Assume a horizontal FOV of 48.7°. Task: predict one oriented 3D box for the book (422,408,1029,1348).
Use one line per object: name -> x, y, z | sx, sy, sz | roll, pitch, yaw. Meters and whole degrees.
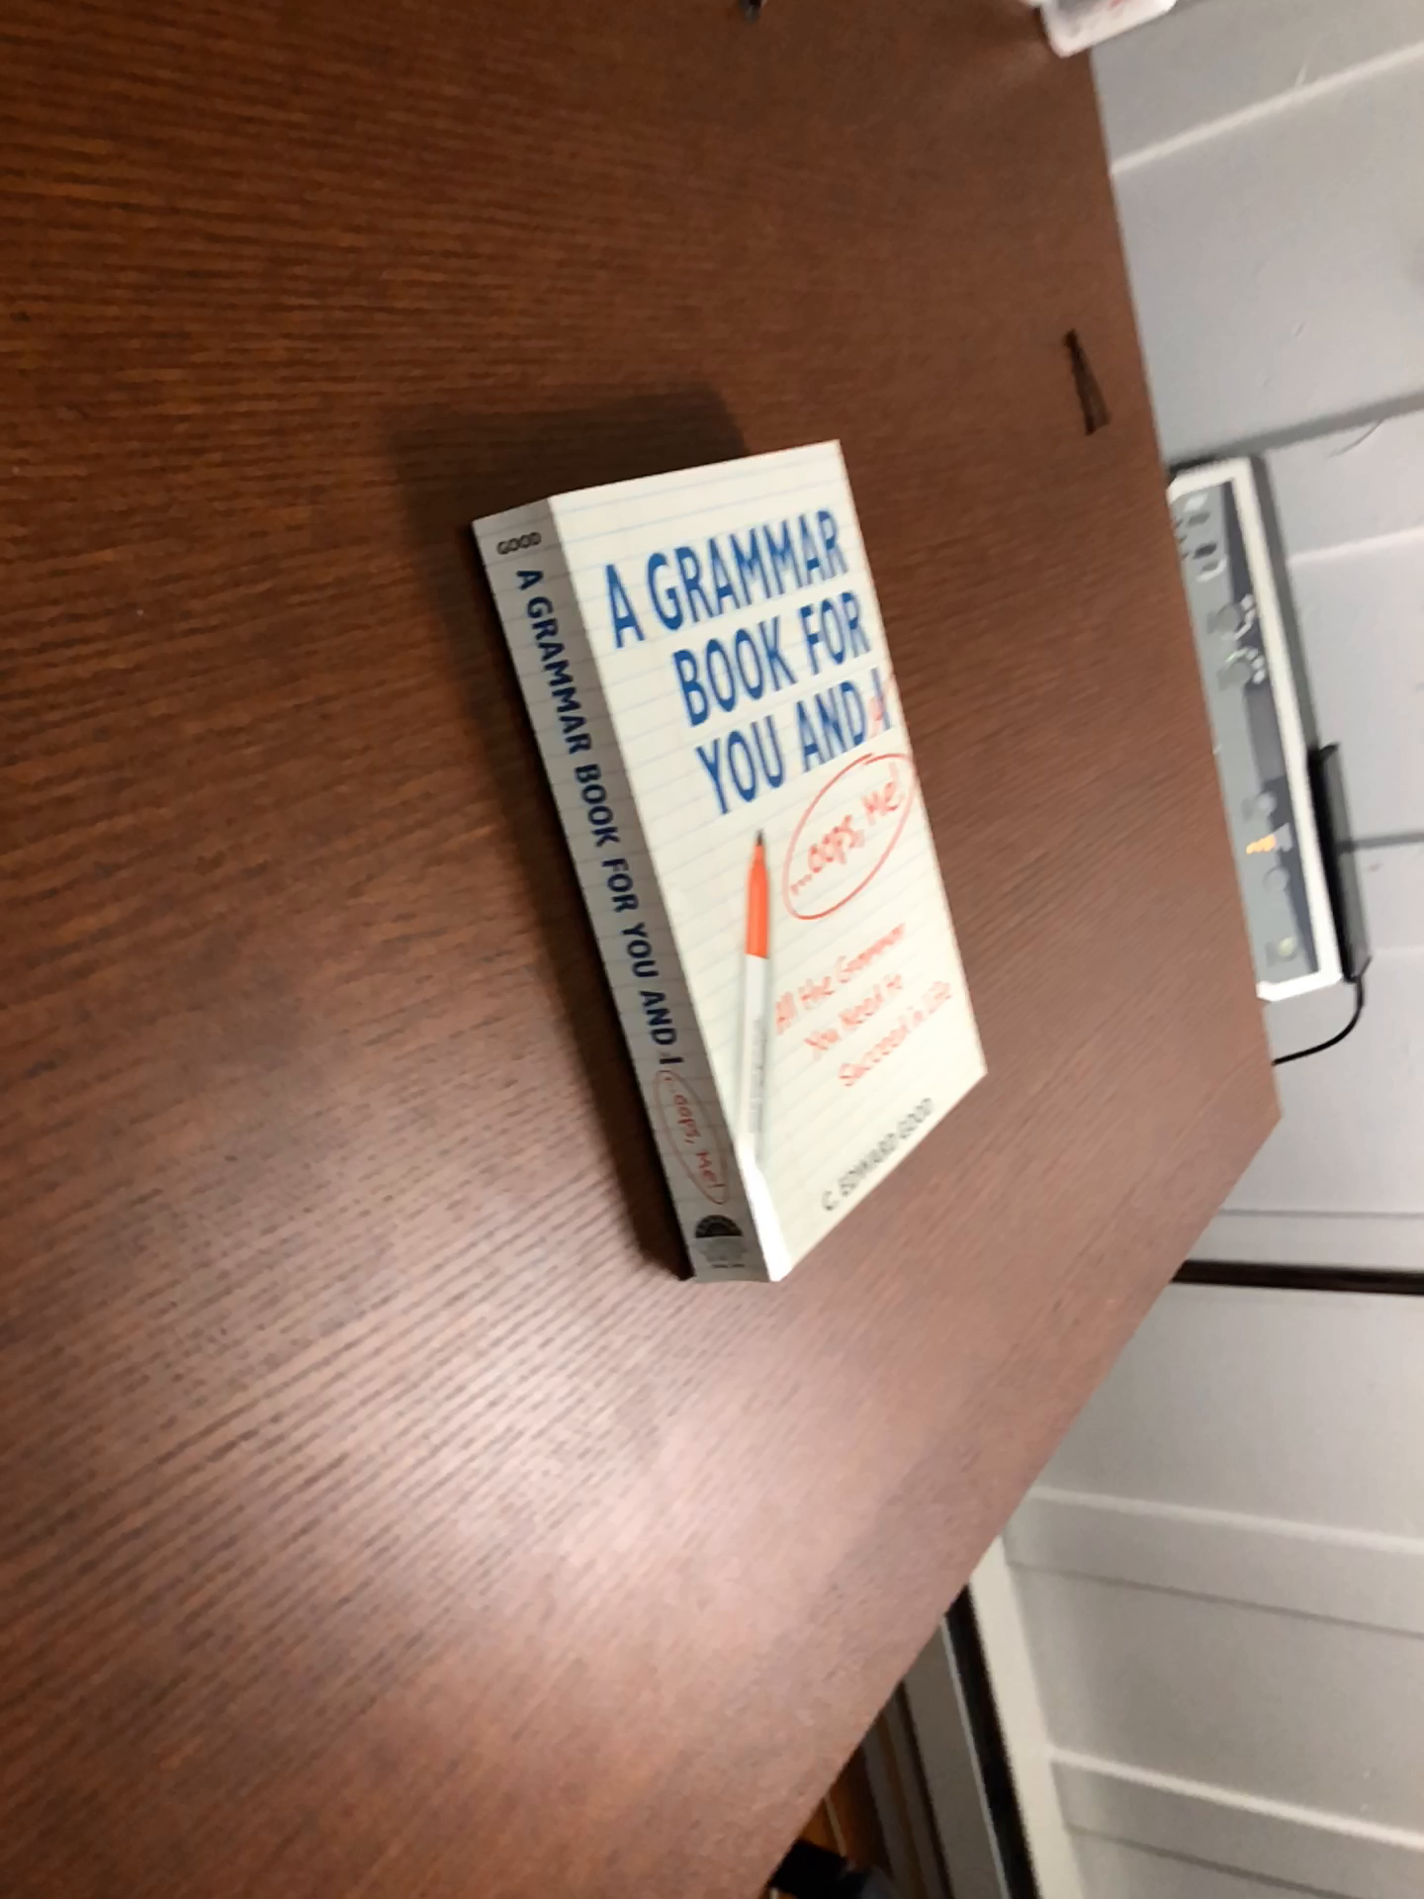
book -> 0.020, -0.031, 0.478 | 0.171, 0.040, 0.240 | -32, 111, -51
